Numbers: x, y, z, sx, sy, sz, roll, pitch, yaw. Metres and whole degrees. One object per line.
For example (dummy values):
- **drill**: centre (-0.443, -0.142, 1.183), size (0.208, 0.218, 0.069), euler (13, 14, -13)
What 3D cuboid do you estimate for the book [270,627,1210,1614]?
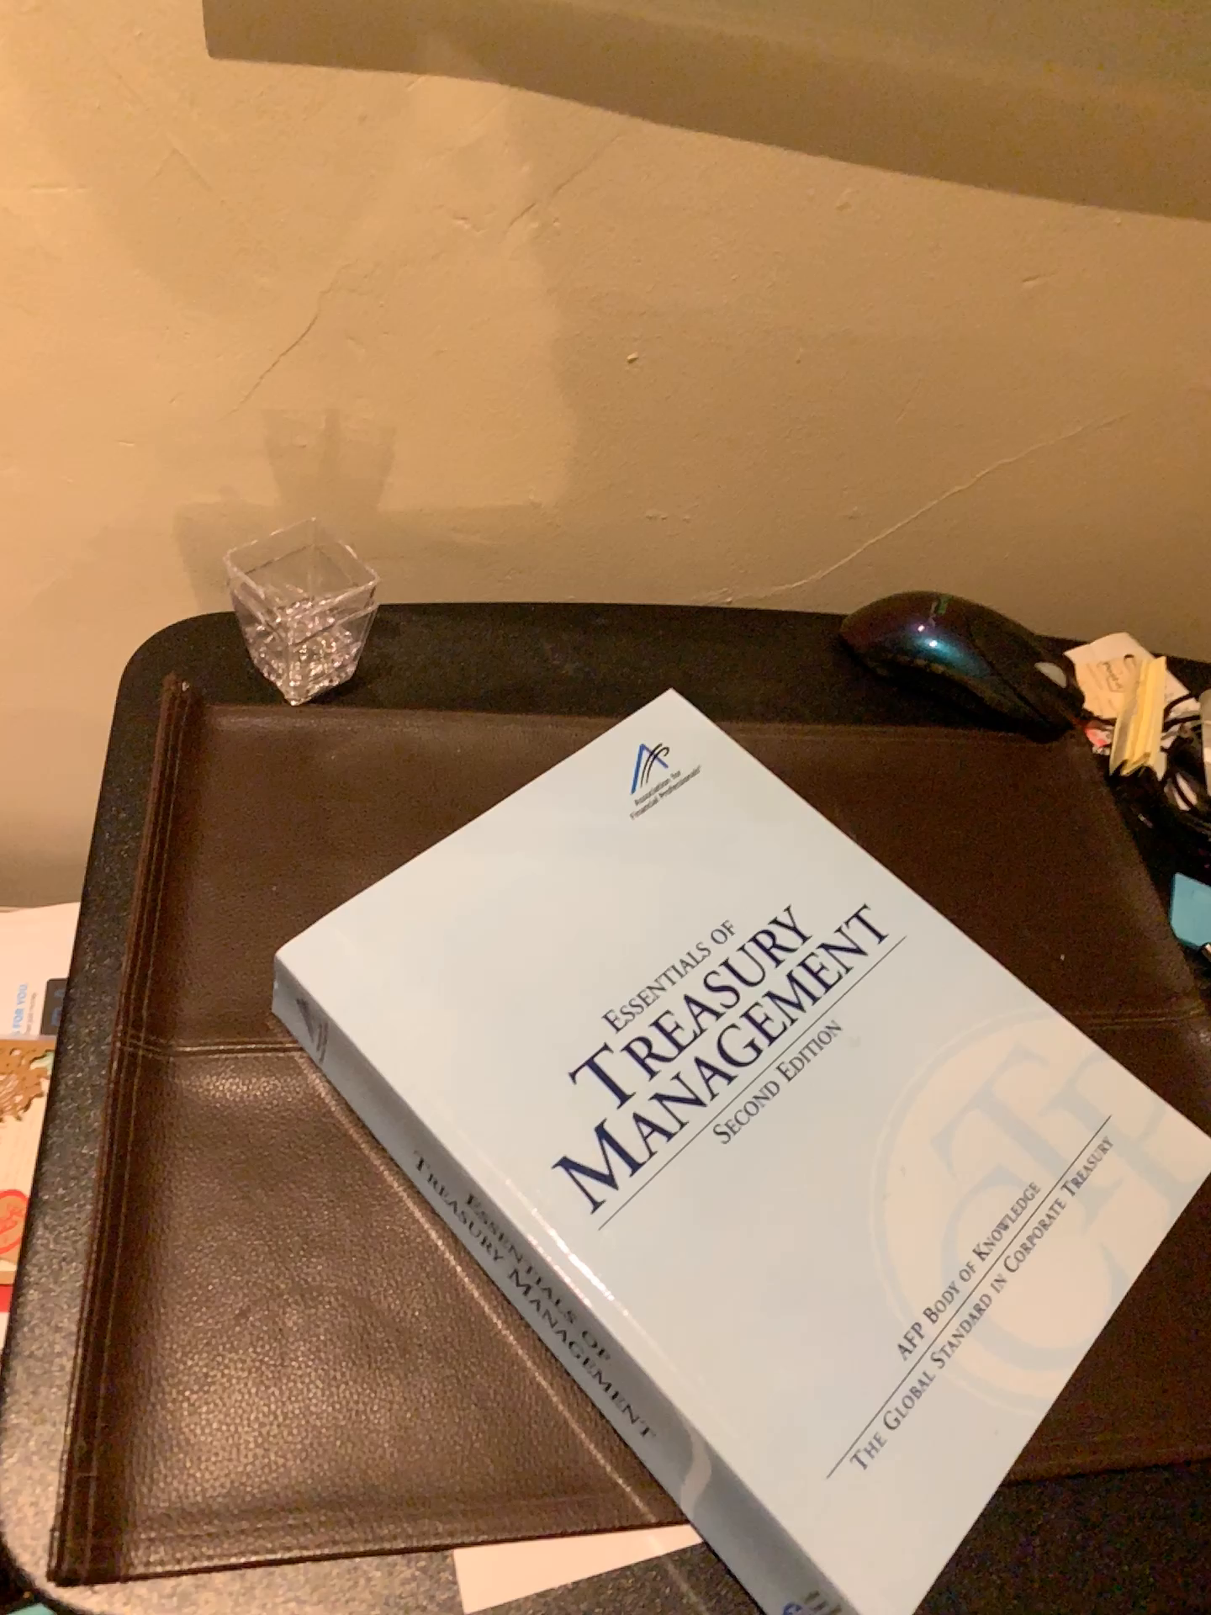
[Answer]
- **book**: centre (0.060, 0.089, 0.455), size (0.220, 0.060, 0.301), euler (-33, 66, -31)
